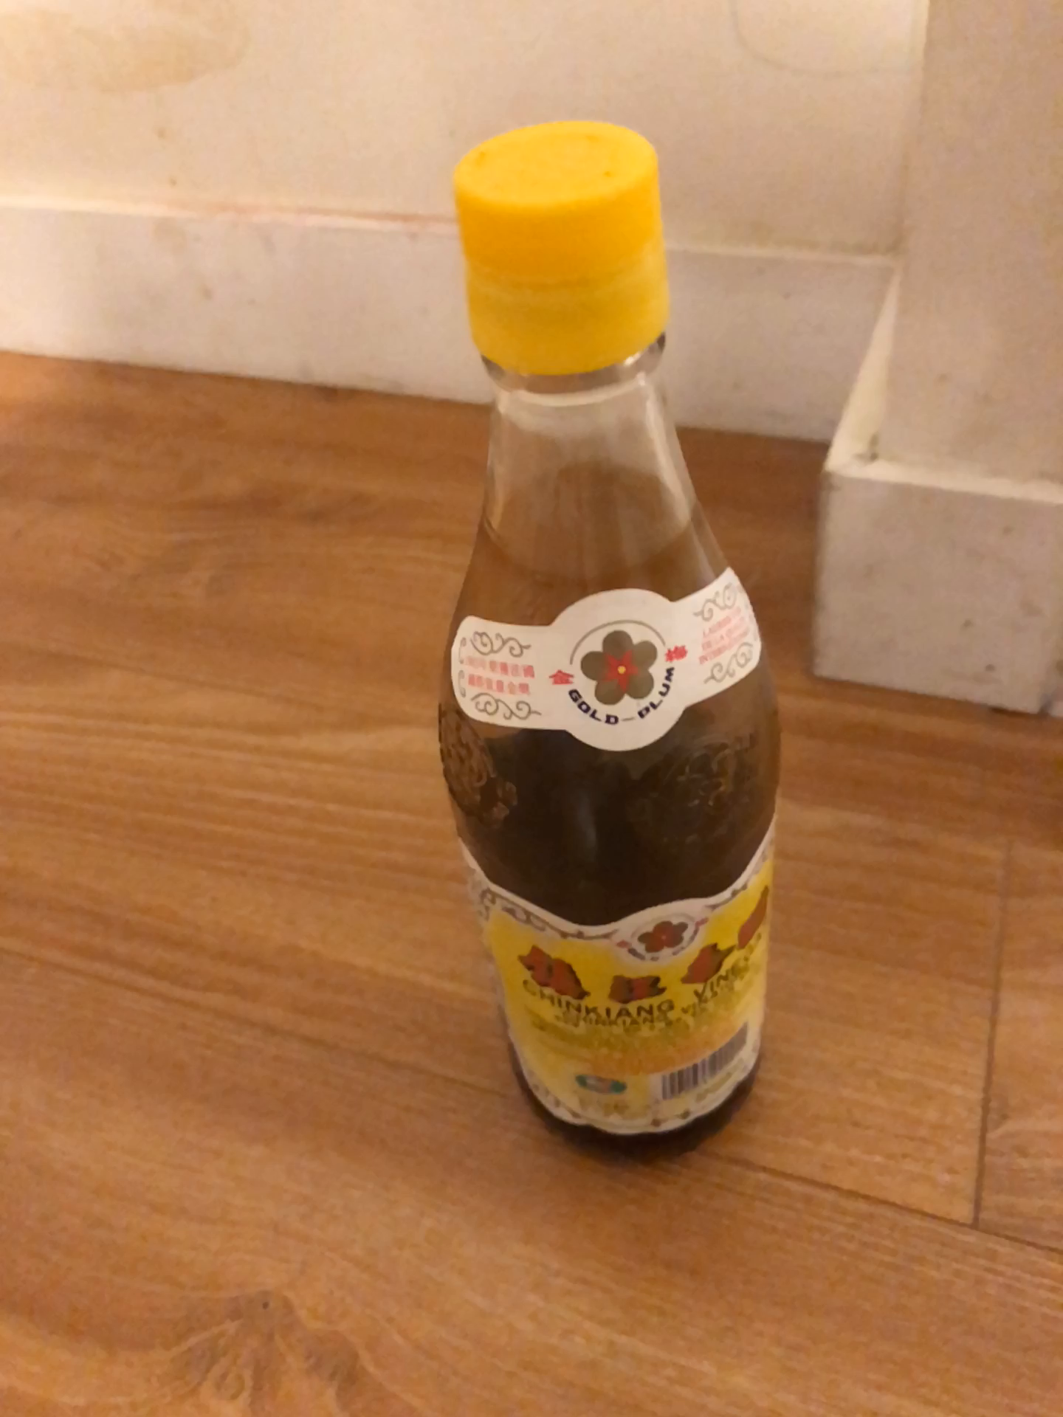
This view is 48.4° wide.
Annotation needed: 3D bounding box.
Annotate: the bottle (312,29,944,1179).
[{"bbox_3d":[0.018,0.005,0.239,0.070,0.228,0.070,-4,45,4],"label":"bottle"}]
